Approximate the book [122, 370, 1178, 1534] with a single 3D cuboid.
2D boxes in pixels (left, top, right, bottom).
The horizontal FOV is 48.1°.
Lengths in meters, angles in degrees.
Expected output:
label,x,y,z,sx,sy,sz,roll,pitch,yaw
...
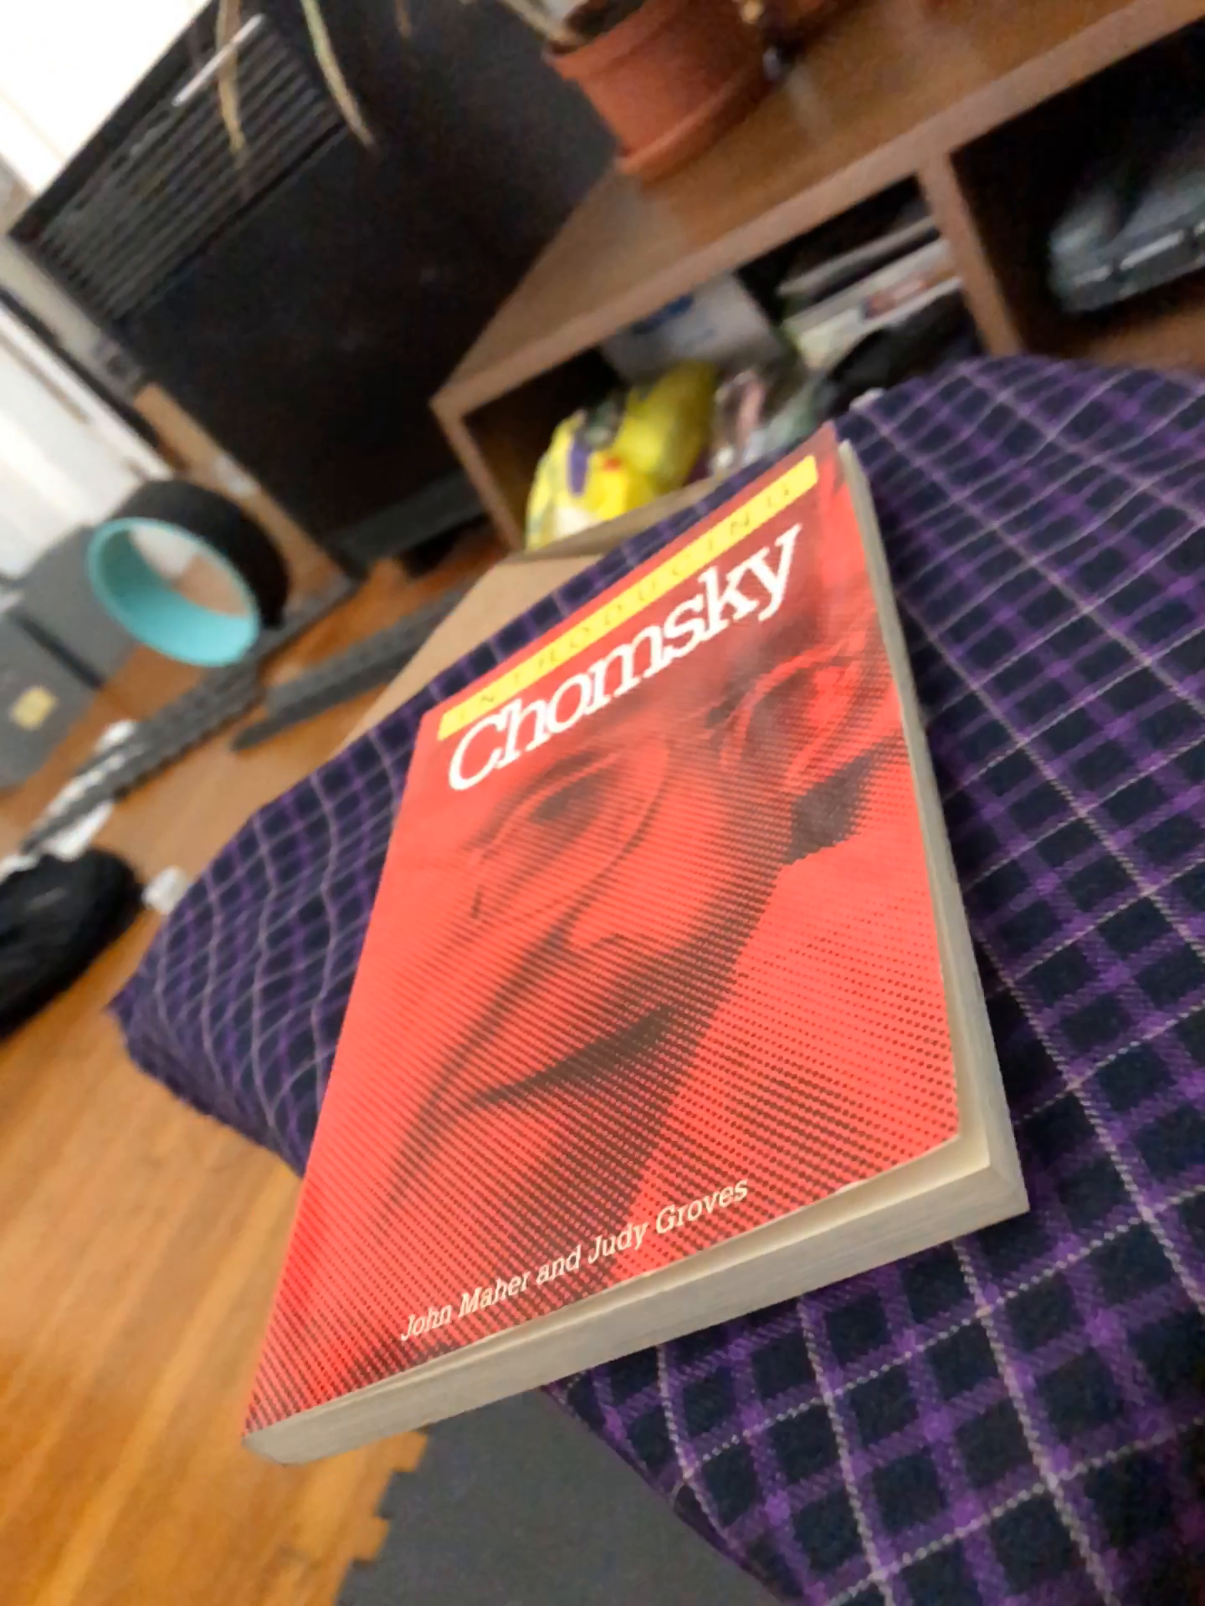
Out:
label,x,y,z,sx,sy,sz,roll,pitch,yaw
book,0.001,0.010,0.295,0.180,0.020,0.241,-29,31,24
